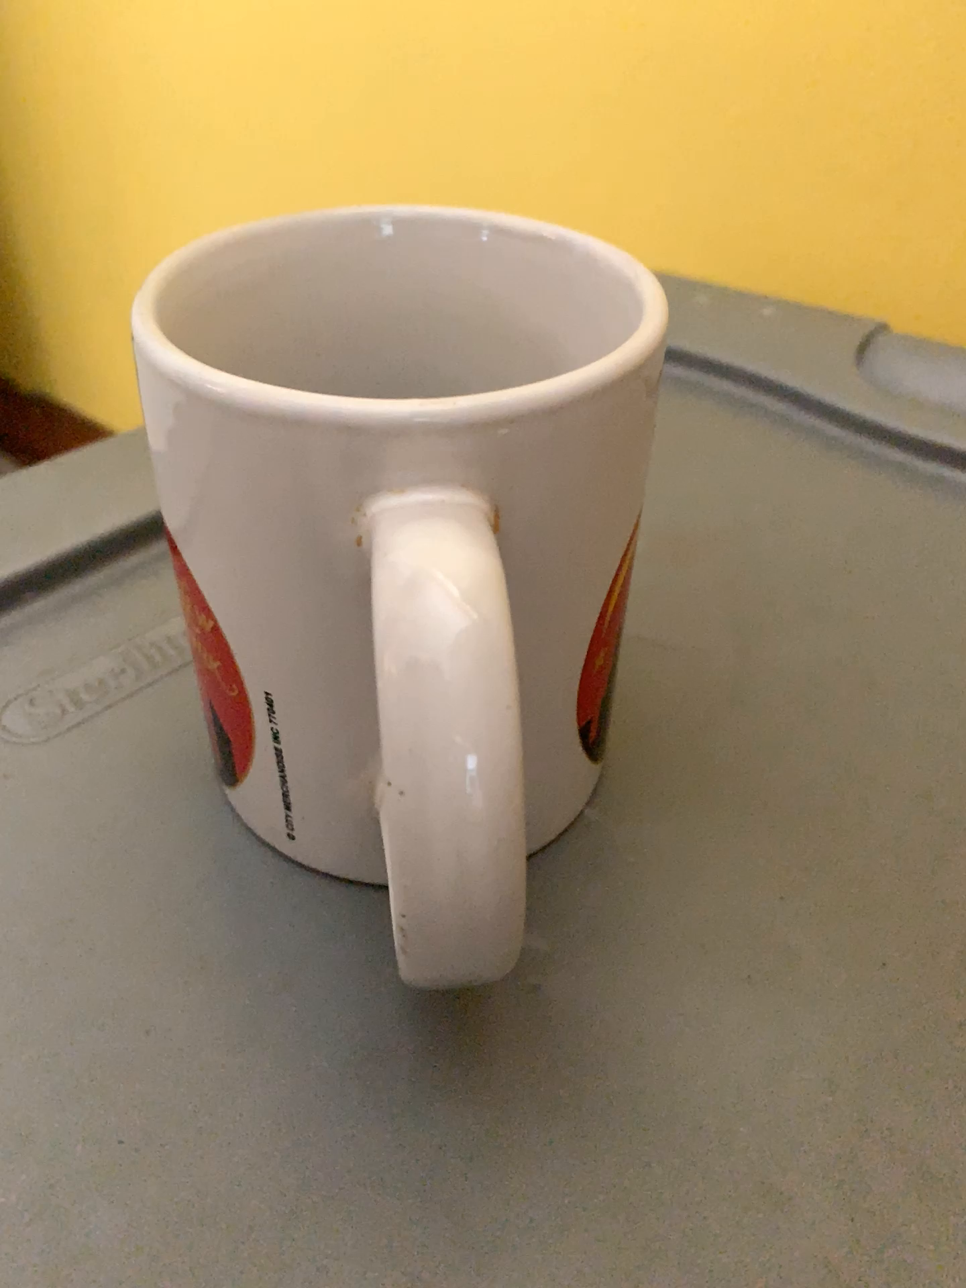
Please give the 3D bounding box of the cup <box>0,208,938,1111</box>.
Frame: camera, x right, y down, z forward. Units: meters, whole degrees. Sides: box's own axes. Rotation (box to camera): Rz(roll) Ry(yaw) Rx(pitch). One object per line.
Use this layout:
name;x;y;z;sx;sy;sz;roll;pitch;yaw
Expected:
cup;-0.008;-0.006;0.175;0.097;0.095;0.119;-3;40;-5
